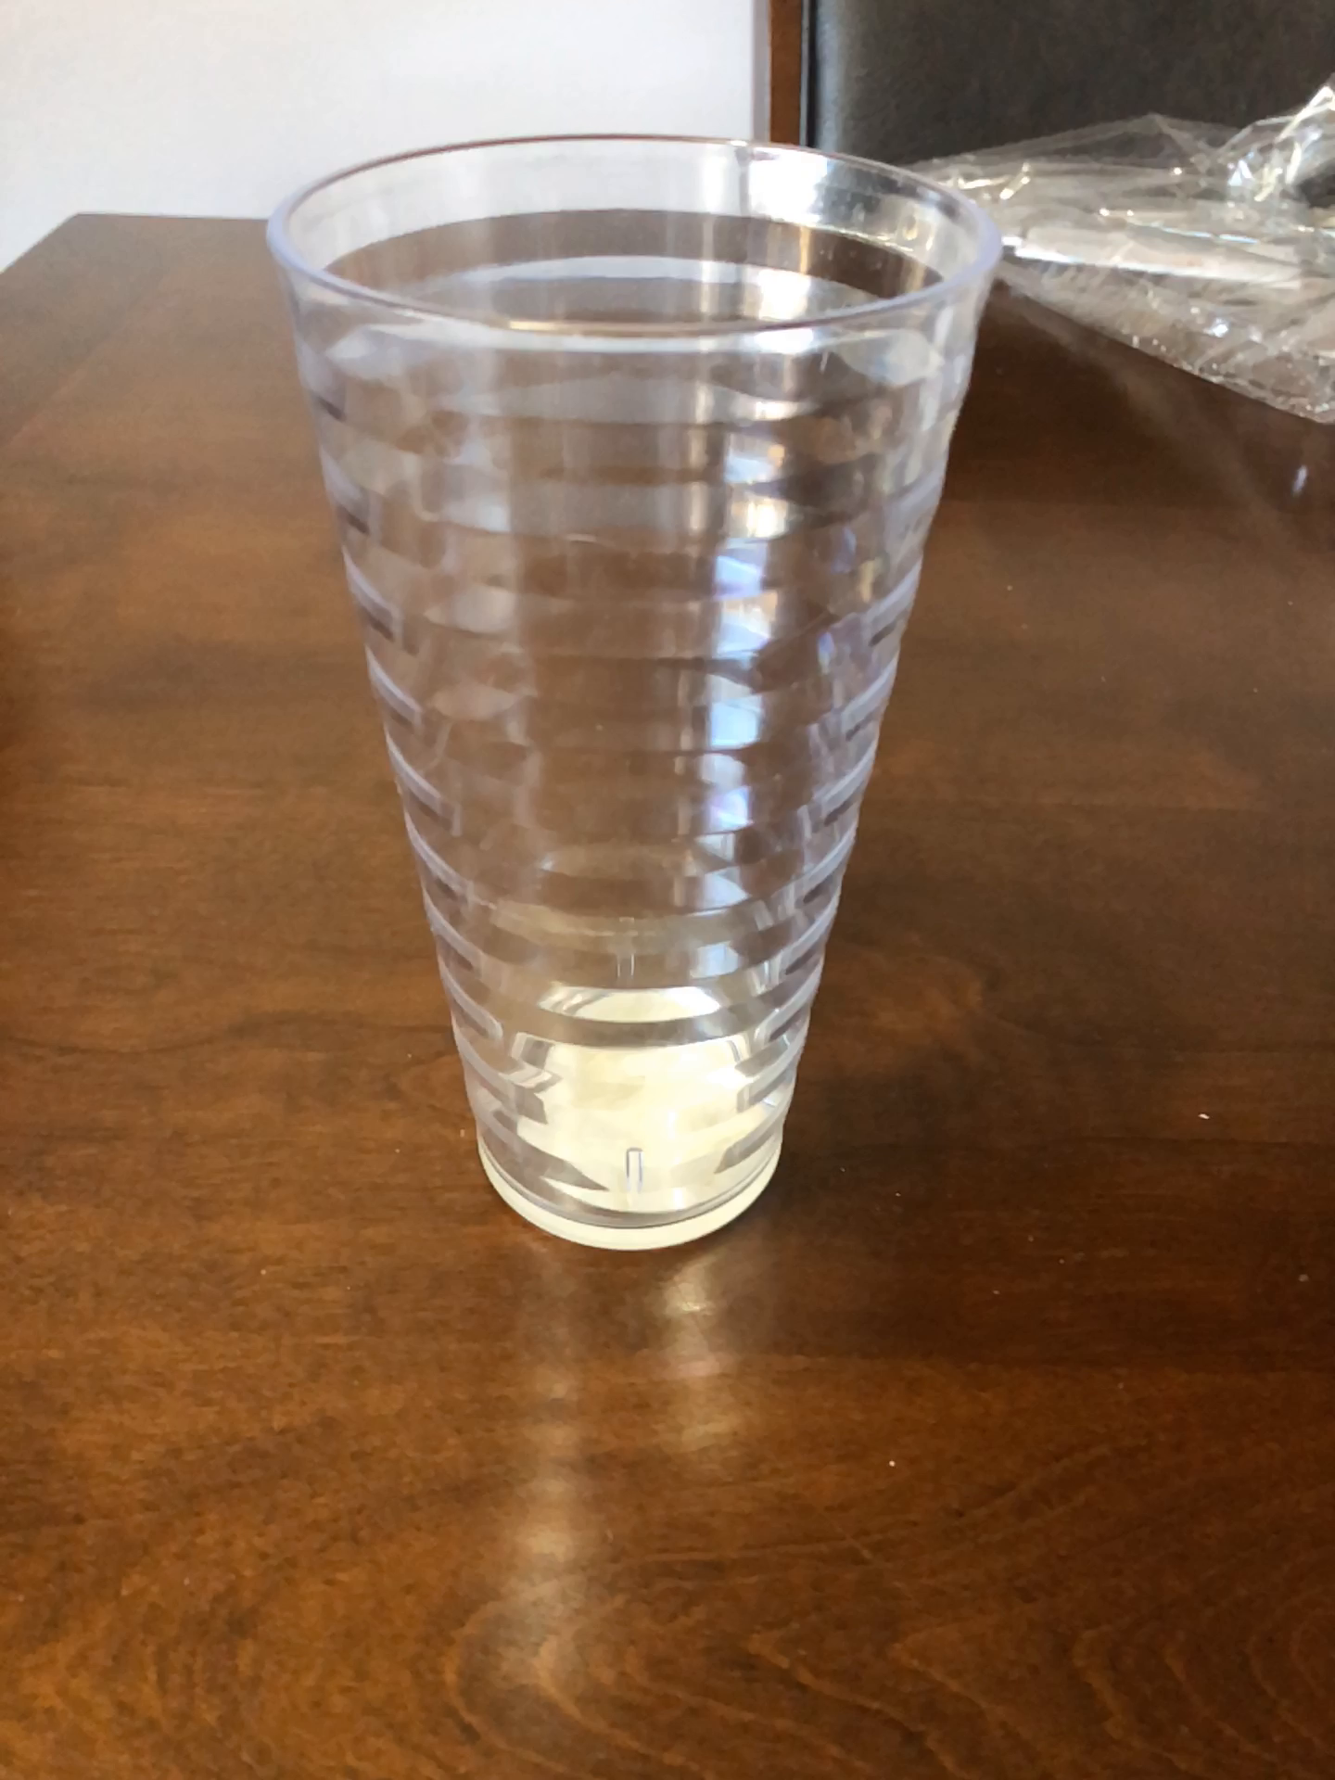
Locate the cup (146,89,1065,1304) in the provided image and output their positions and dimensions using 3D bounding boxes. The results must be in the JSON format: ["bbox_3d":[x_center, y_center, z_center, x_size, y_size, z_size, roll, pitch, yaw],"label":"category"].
[{"bbox_3d":[-0.007,-0.027,0.256,0.100,0.179,0.100,1,38,-1],"label":"cup"}]
